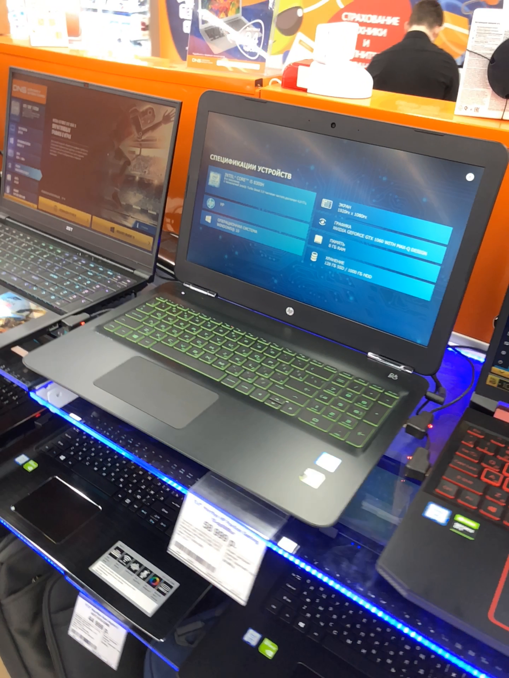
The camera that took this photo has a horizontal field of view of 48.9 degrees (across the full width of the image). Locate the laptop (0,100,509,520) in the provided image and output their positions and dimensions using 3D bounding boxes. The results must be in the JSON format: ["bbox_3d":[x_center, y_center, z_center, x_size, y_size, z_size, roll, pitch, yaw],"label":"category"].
[{"bbox_3d":[0.007,-0.081,0.571,0.357,0.235,0.313,22,35,27],"label":"laptop"}]
